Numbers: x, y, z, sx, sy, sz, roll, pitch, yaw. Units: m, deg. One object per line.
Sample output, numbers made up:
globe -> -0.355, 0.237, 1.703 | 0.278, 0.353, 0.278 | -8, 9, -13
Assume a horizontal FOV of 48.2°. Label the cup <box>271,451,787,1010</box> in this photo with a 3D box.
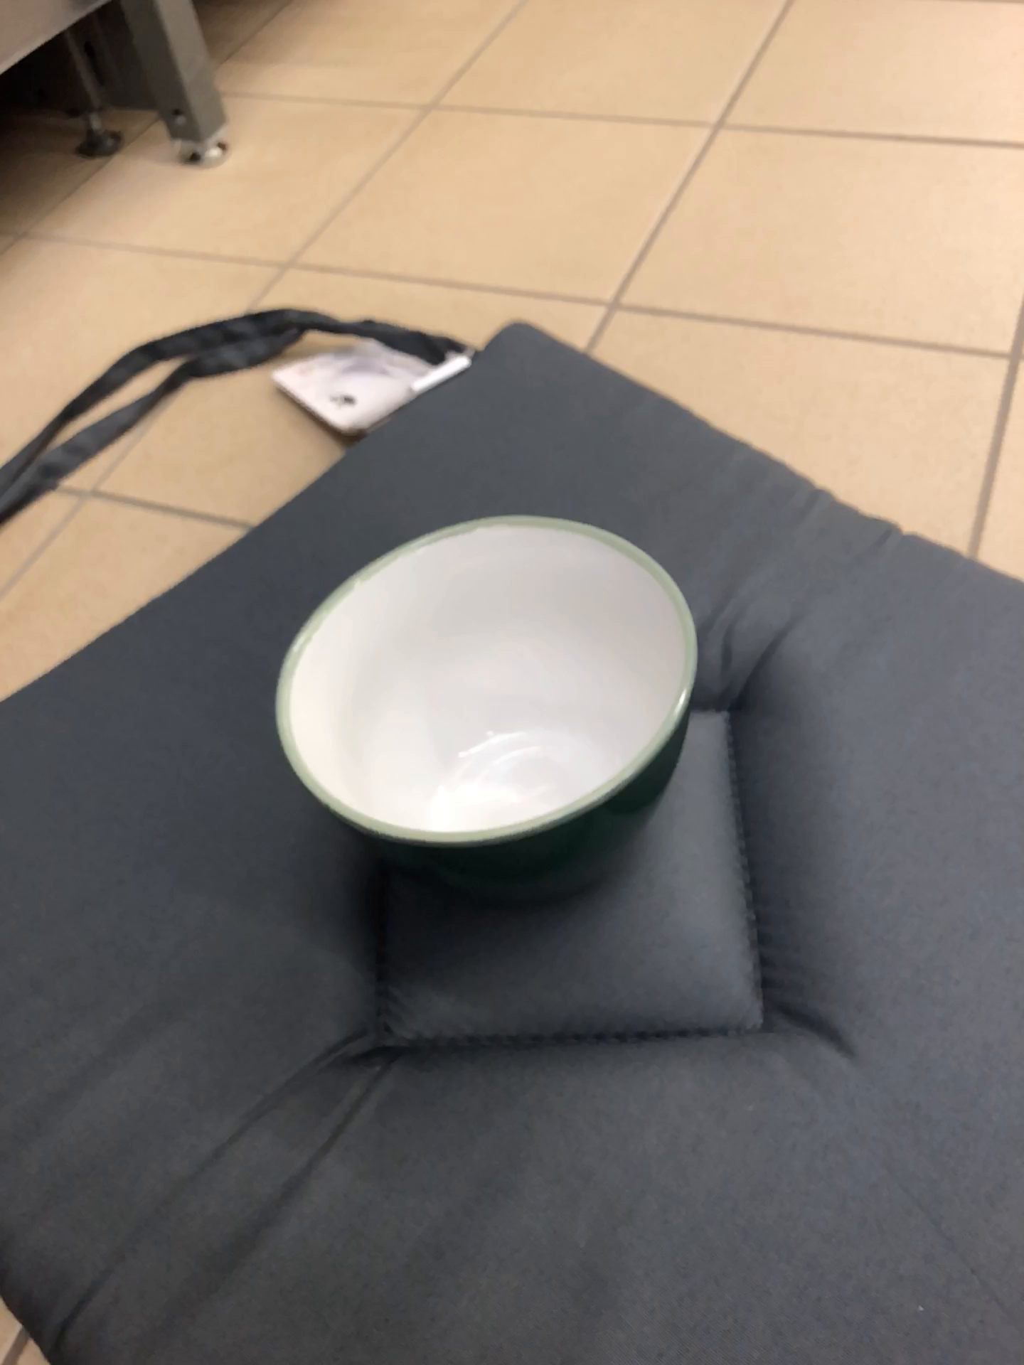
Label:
cup -> -0.001, 0.009, 0.327 | 0.120, 0.060, 0.131 | -4, 51, 5
